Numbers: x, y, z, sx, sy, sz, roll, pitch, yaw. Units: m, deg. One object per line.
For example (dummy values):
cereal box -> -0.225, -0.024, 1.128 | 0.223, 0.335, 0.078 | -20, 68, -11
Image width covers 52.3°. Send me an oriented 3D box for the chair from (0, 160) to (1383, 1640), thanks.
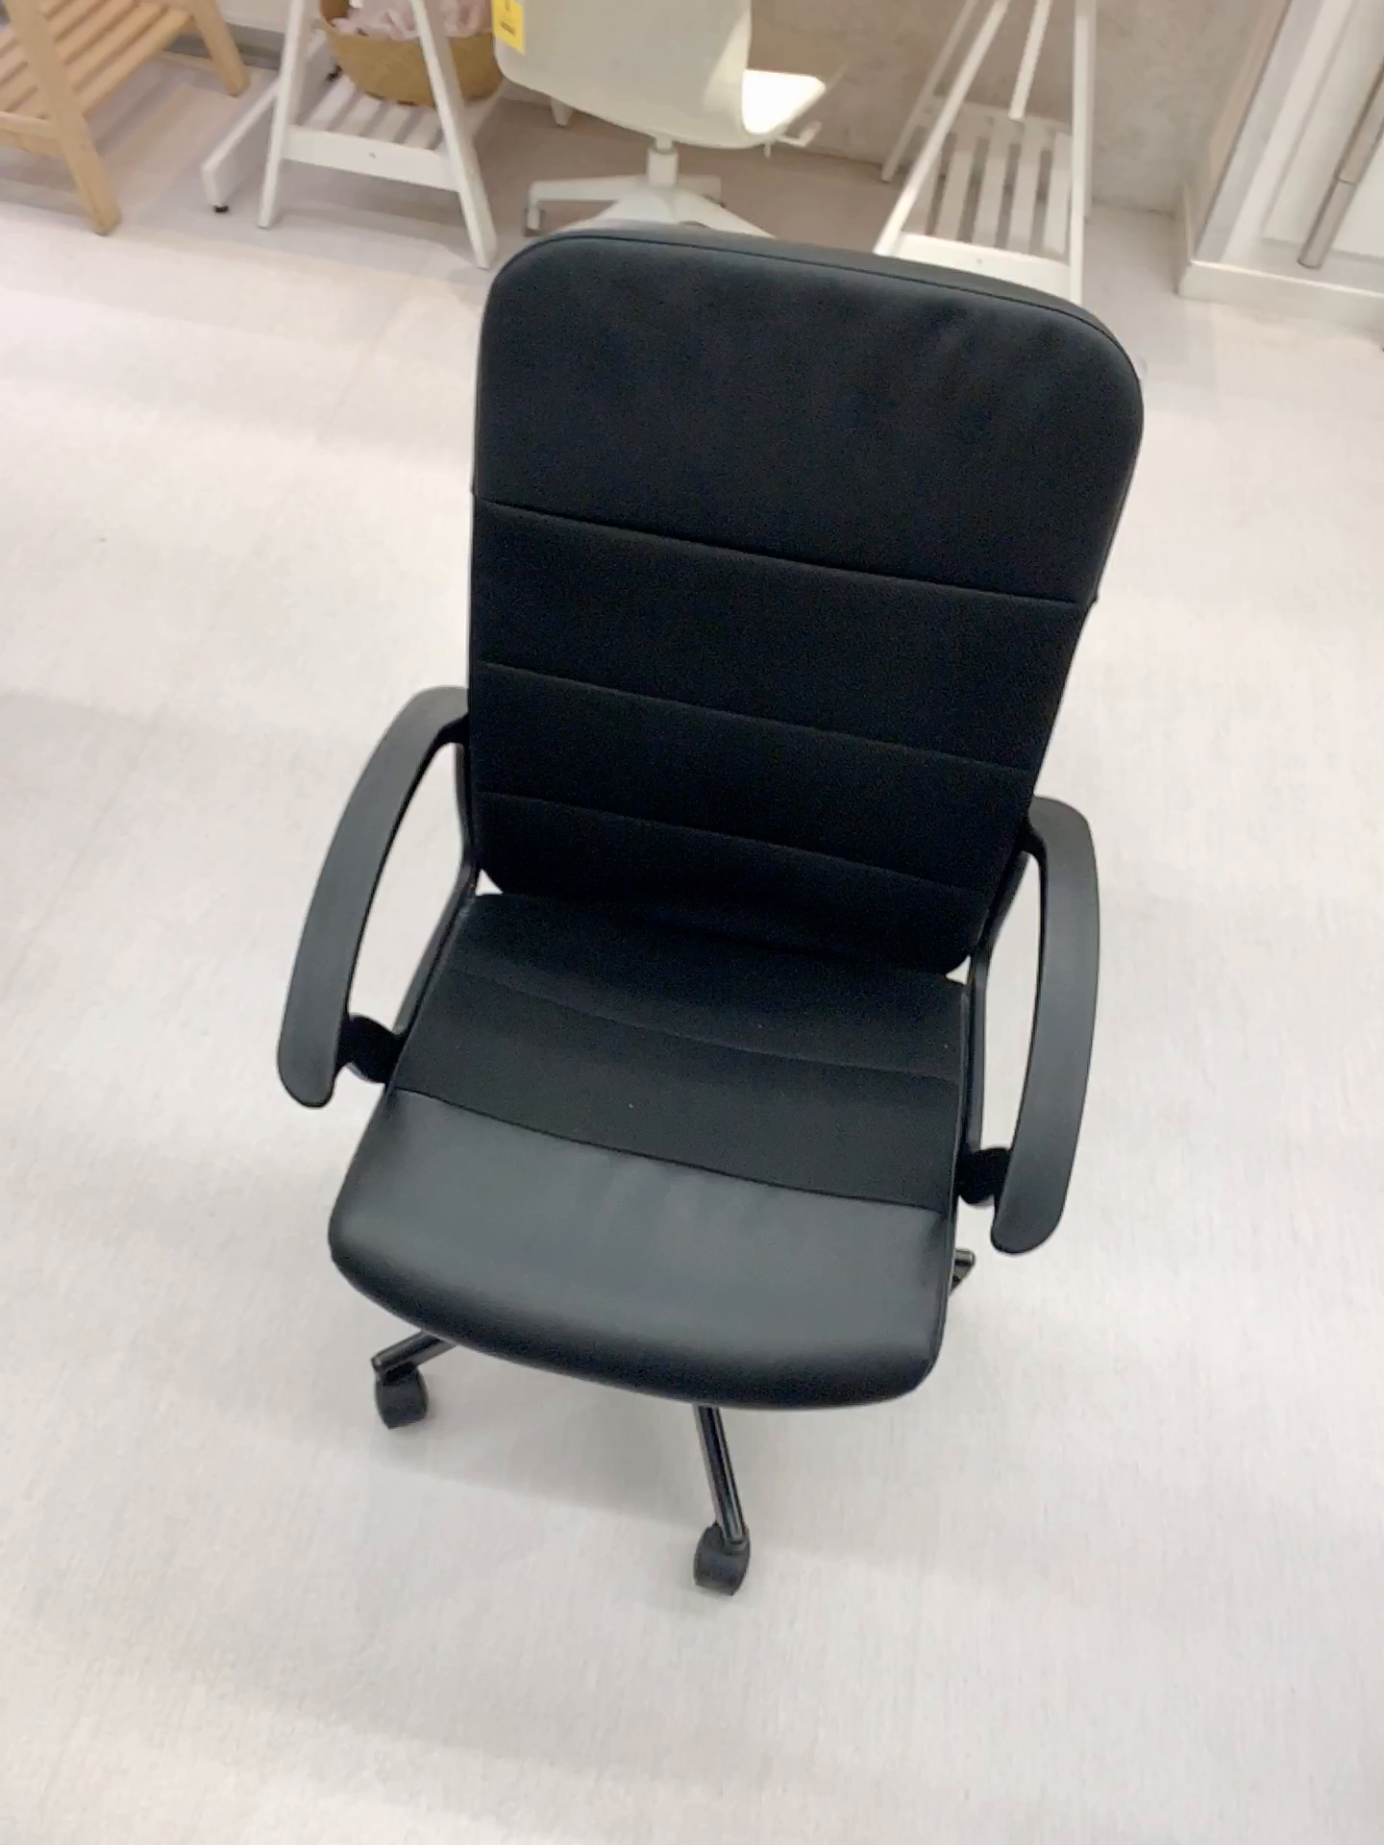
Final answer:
chair -> 0.011, 0.096, 1.103 | 0.610, 0.997, 0.581 | 9, 53, 1
